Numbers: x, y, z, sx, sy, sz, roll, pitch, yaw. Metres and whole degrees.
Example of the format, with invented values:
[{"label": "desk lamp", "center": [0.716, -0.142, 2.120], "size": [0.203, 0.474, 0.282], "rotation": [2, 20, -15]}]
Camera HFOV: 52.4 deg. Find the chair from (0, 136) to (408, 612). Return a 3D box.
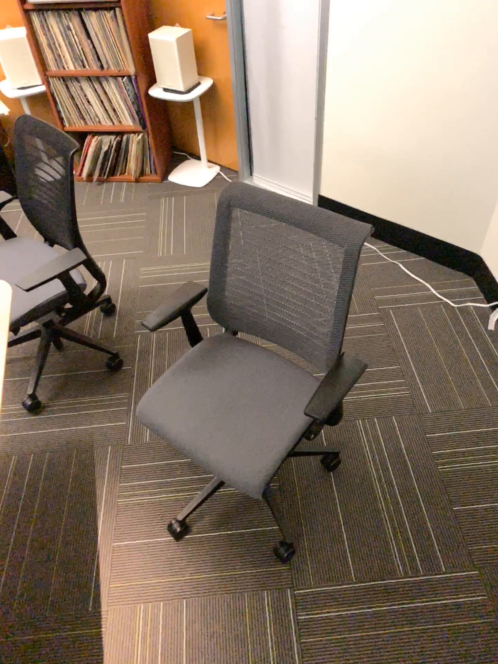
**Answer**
[{"label": "chair", "center": [-0.107, 0.153, 1.651], "size": [0.792, 1.114, 0.802], "rotation": [23, 54, 24]}]
